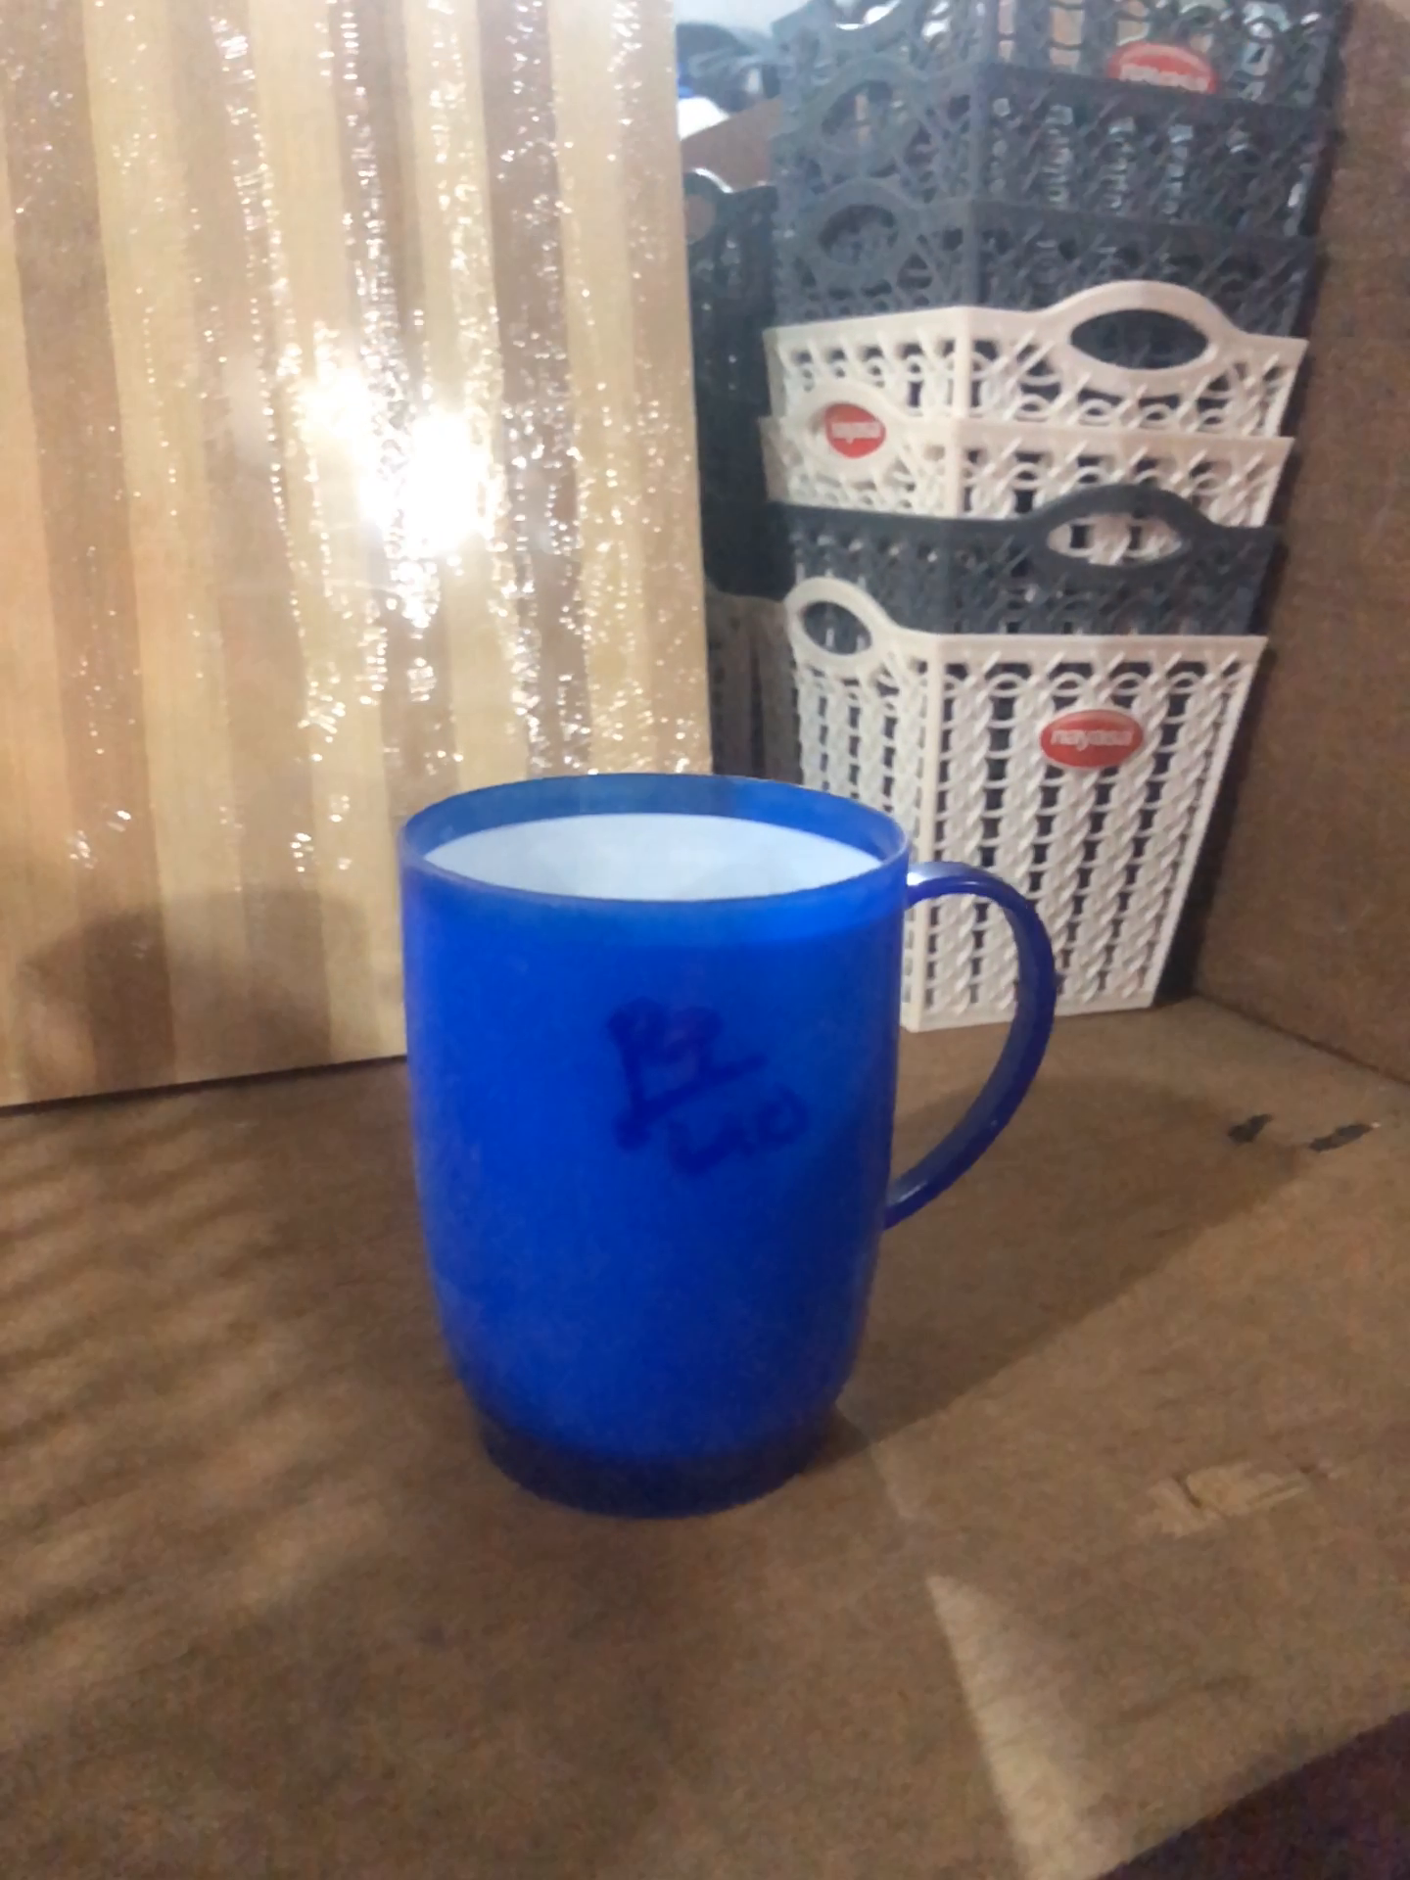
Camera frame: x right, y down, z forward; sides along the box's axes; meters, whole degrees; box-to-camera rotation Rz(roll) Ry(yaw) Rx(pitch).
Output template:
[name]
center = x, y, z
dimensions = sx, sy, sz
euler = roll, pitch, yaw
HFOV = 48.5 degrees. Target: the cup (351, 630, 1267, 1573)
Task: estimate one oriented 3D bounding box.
[cup]
center = 0.010, 0.015, 0.238
dimensions = 0.110, 0.110, 0.070
euler = -6, 20, -19
